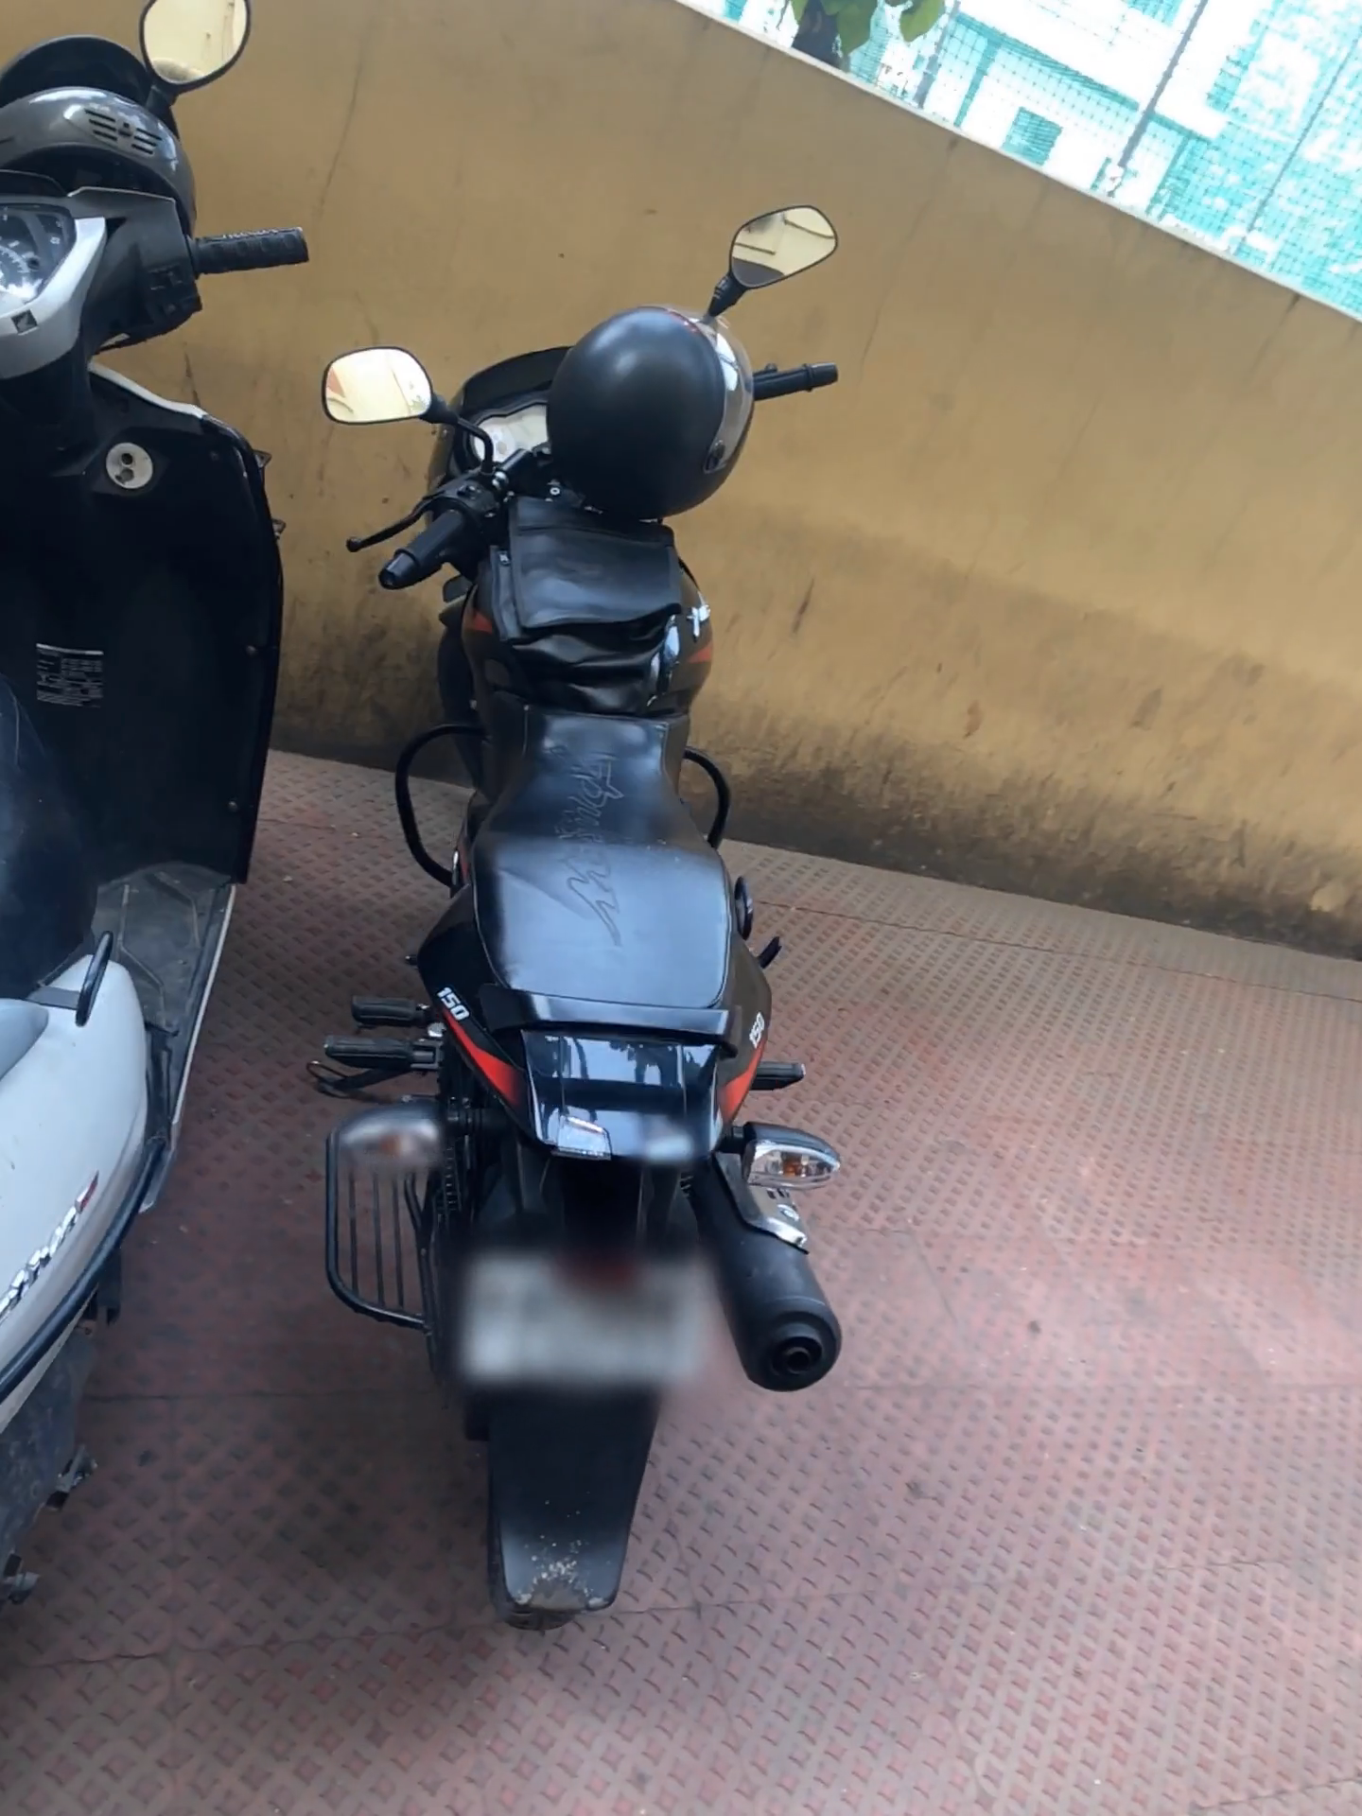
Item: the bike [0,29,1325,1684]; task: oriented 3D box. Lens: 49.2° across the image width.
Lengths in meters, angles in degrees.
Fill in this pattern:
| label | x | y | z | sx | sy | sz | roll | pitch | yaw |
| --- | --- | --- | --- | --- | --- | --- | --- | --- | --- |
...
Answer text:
| label | x | y | z | sx | sy | sz | roll | pitch | yaw |
| --- | --- | --- | --- | --- | --- | --- | --- | --- | --- |
| bike | -0.278 | -0.166 | 1.820 | 0.828 | 1.057 | 1.610 | 11 | 35 | -23 |
